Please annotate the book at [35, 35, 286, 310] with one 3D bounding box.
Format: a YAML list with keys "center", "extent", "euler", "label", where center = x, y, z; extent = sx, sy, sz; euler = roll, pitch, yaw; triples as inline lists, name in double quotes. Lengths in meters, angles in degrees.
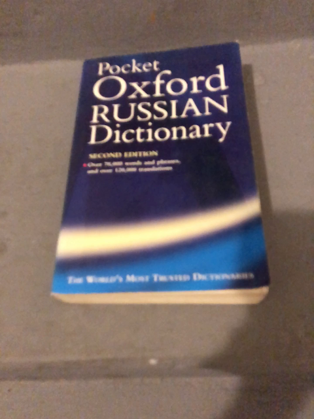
- center: [0.002, -0.033, 0.242]
  extent: [0.137, 0.032, 0.195]
  euler: [-3, 65, 8]
  label: "book"
